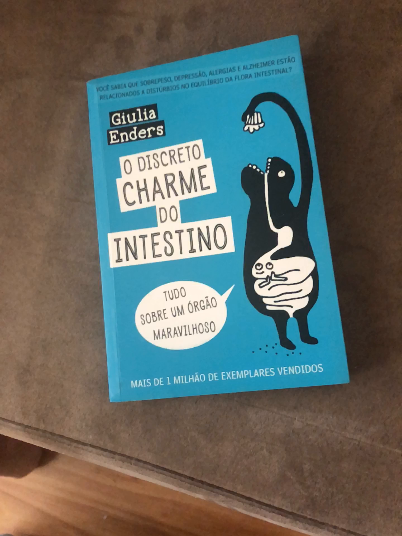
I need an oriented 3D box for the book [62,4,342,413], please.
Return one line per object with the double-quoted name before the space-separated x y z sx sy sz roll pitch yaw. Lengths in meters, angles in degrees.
"book" -0.006 -0.034 0.268 0.140 0.030 0.220 -7 81 9
